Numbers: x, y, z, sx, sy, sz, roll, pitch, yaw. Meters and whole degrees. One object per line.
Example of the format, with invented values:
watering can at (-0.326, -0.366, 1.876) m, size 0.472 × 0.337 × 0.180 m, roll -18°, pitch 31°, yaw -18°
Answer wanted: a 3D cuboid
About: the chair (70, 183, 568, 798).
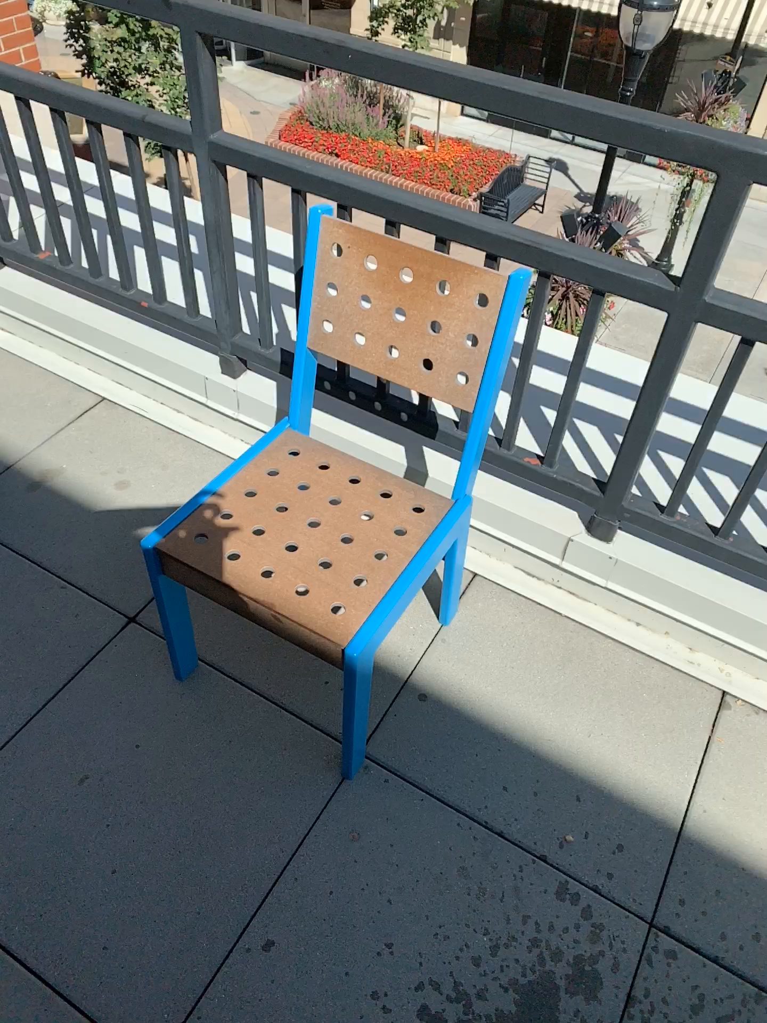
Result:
chair at (-0.079, -0.032, 1.507) m, size 0.470 × 0.857 × 0.672 m, roll 25°, pitch 49°, yaw 19°
